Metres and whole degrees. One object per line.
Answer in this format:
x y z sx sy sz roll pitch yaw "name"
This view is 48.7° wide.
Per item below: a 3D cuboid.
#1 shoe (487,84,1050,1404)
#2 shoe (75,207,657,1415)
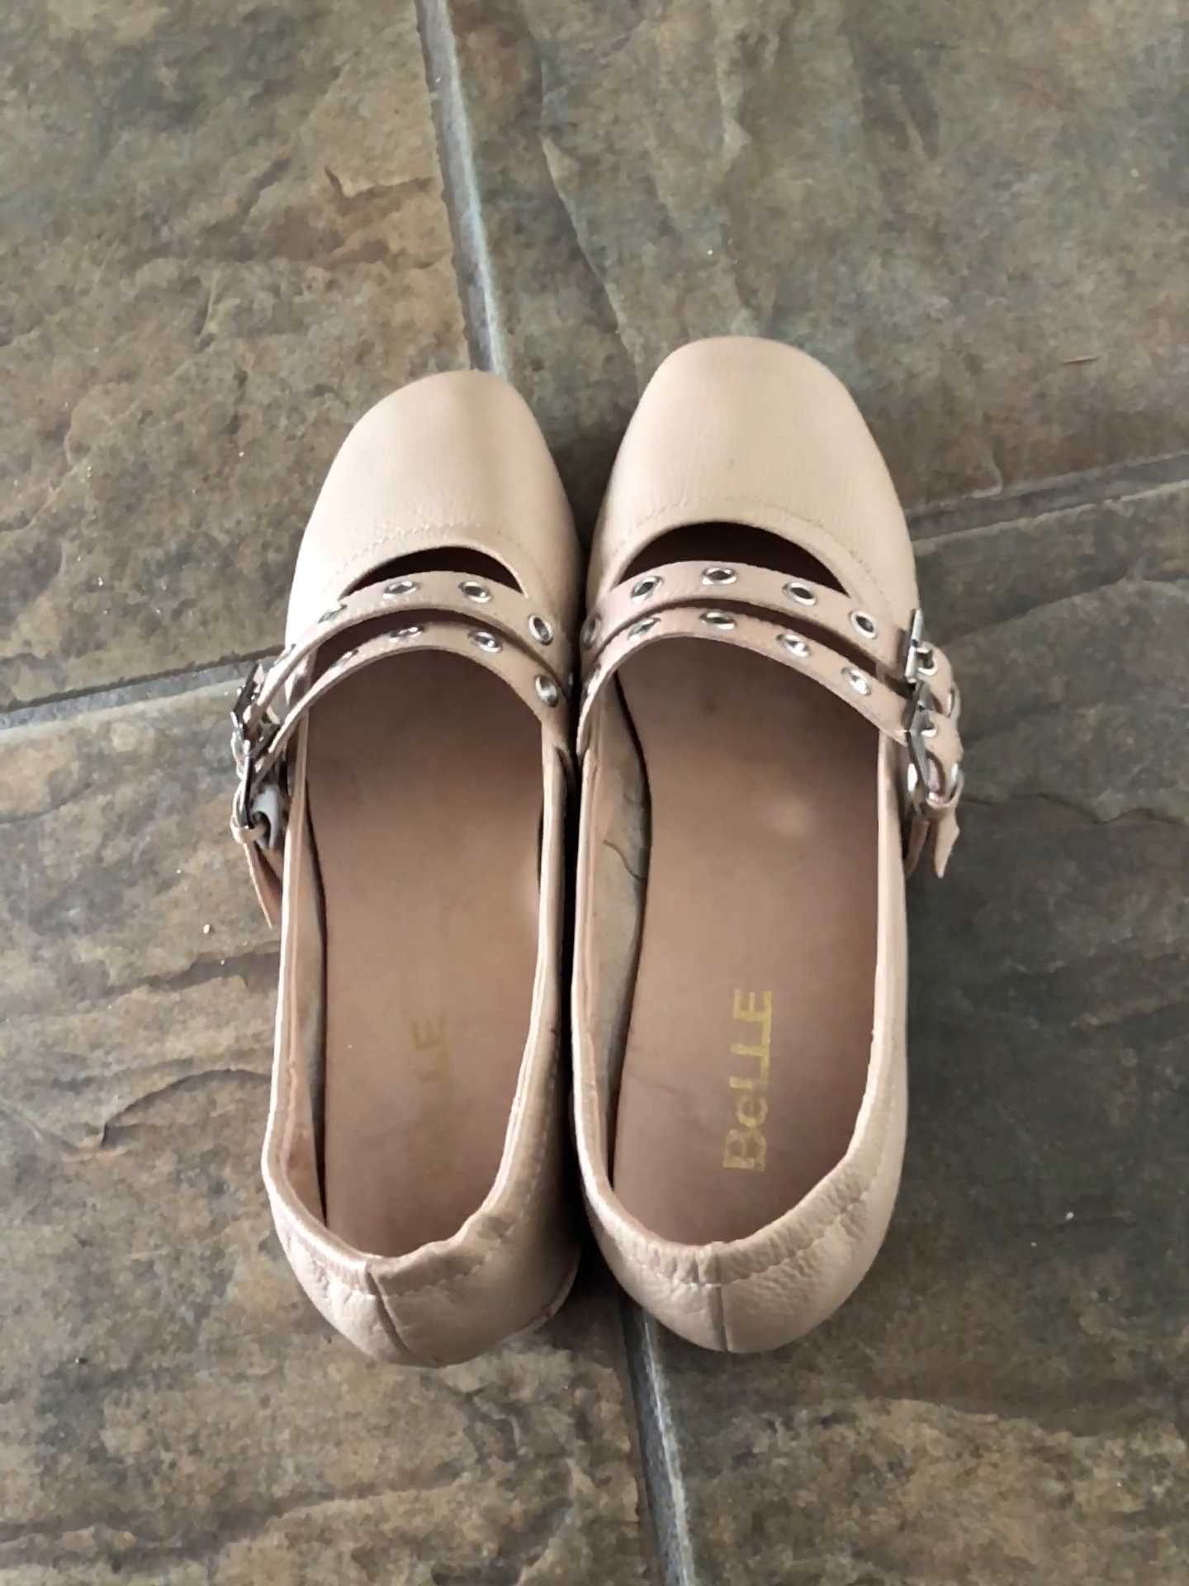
0.036 -0.013 0.288 0.090 0.090 0.250 -1 75 9 "shoe"
-0.050 0.002 0.316 0.100 0.090 0.250 -7 74 7 "shoe"
